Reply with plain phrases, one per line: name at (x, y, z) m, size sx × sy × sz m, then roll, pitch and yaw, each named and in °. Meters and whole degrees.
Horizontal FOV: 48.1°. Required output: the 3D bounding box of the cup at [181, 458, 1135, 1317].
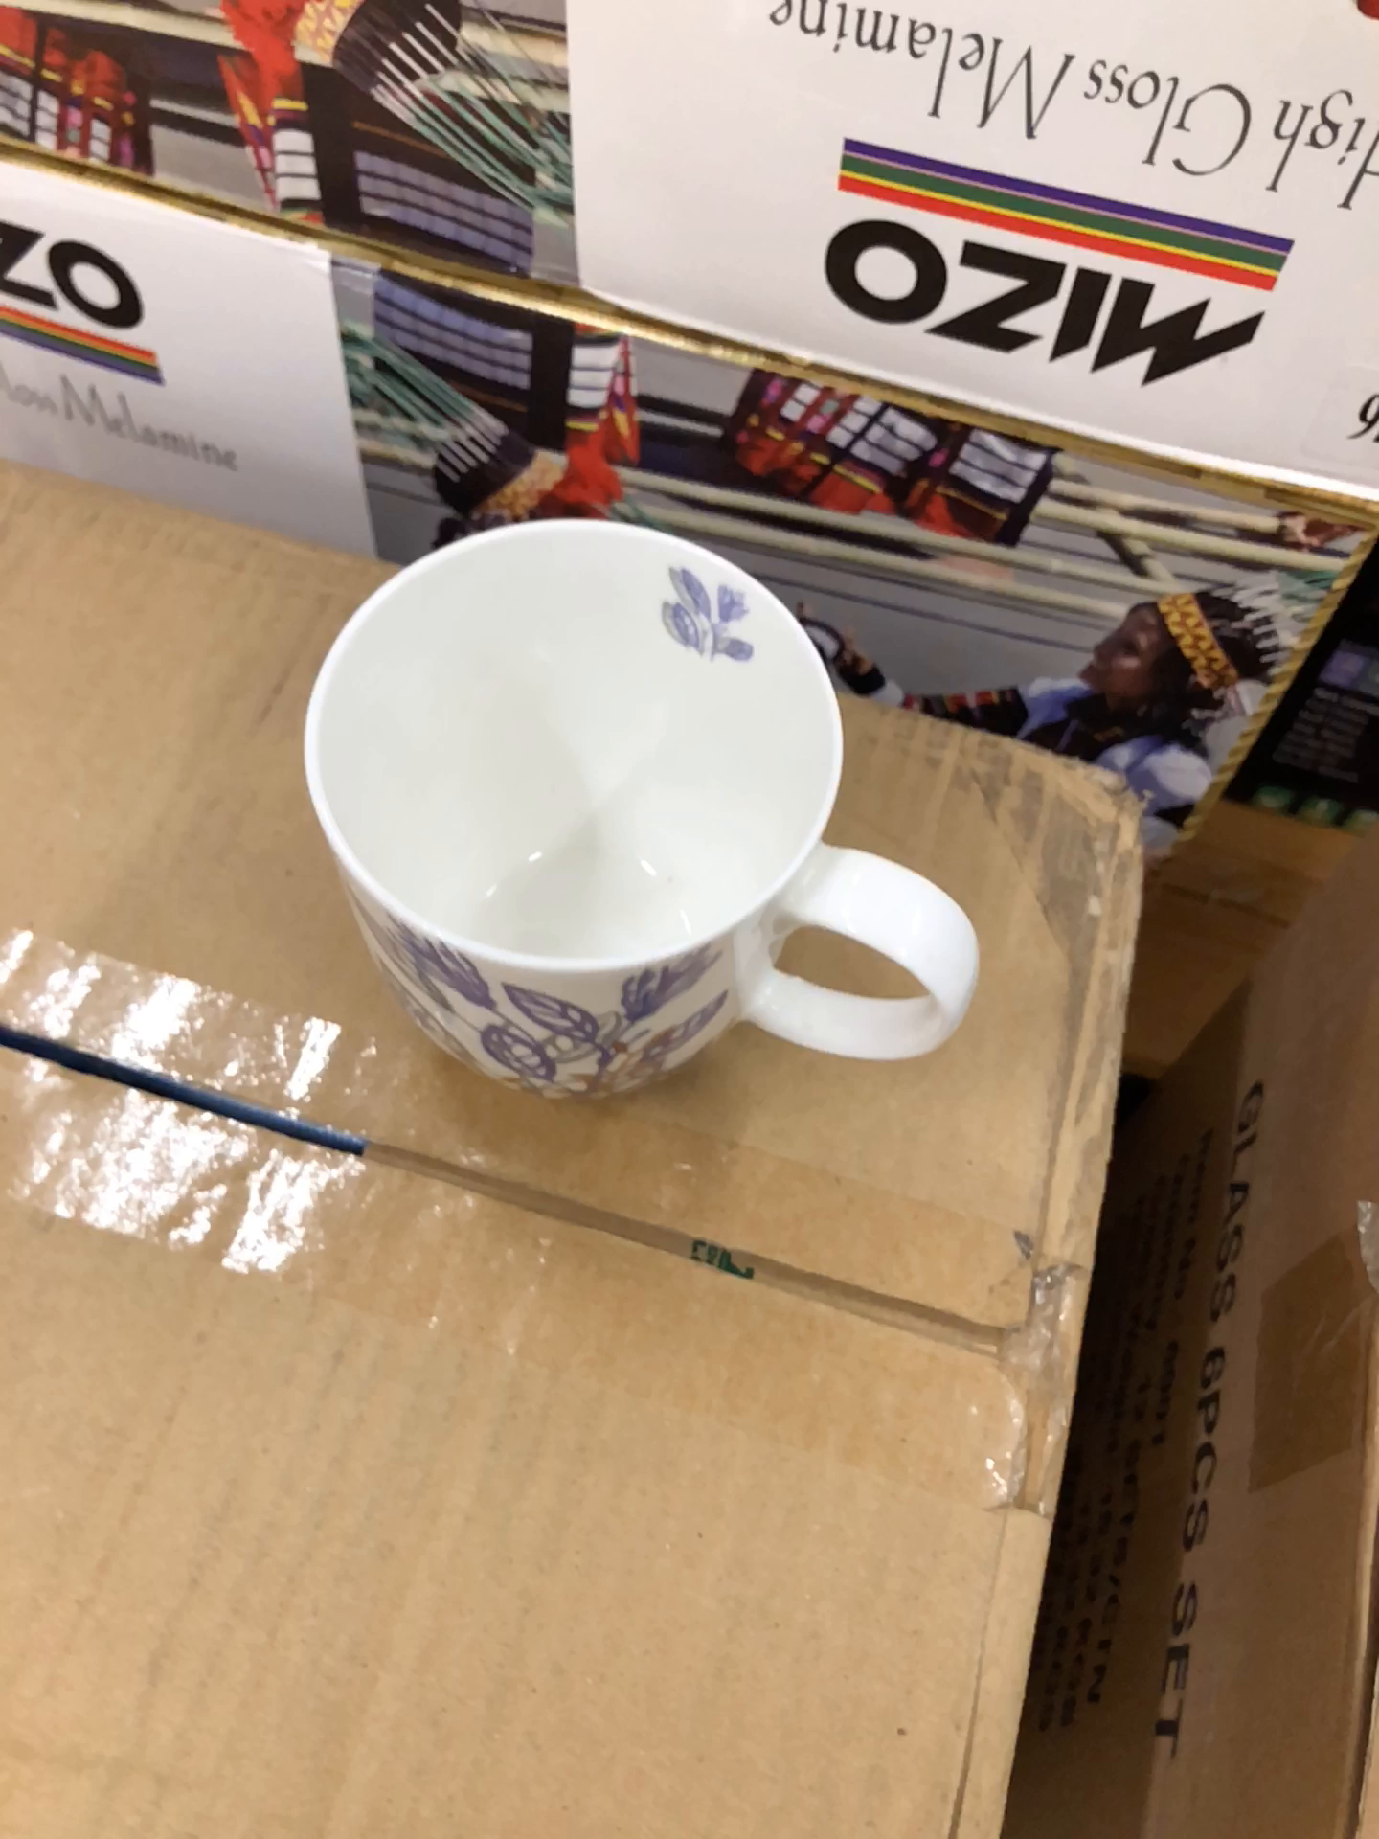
cup at (-0.003, -0.005, 0.265) m, size 0.120 × 0.070 × 0.090 m, roll 20°, pitch 62°, yaw 7°
